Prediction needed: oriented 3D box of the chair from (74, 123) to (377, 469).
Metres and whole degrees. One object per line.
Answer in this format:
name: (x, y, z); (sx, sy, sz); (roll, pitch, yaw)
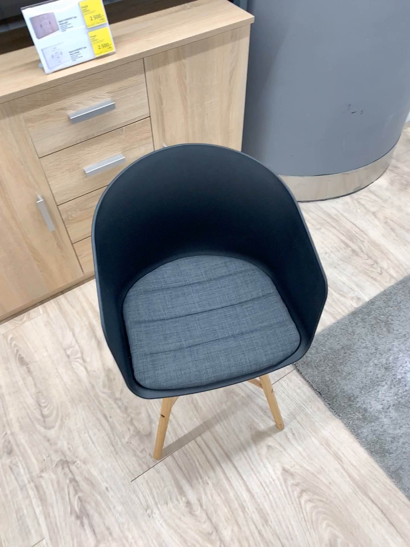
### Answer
chair: (0.004, 0.111, 1.203); (0.510, 0.787, 0.552); (-13, 53, -8)
